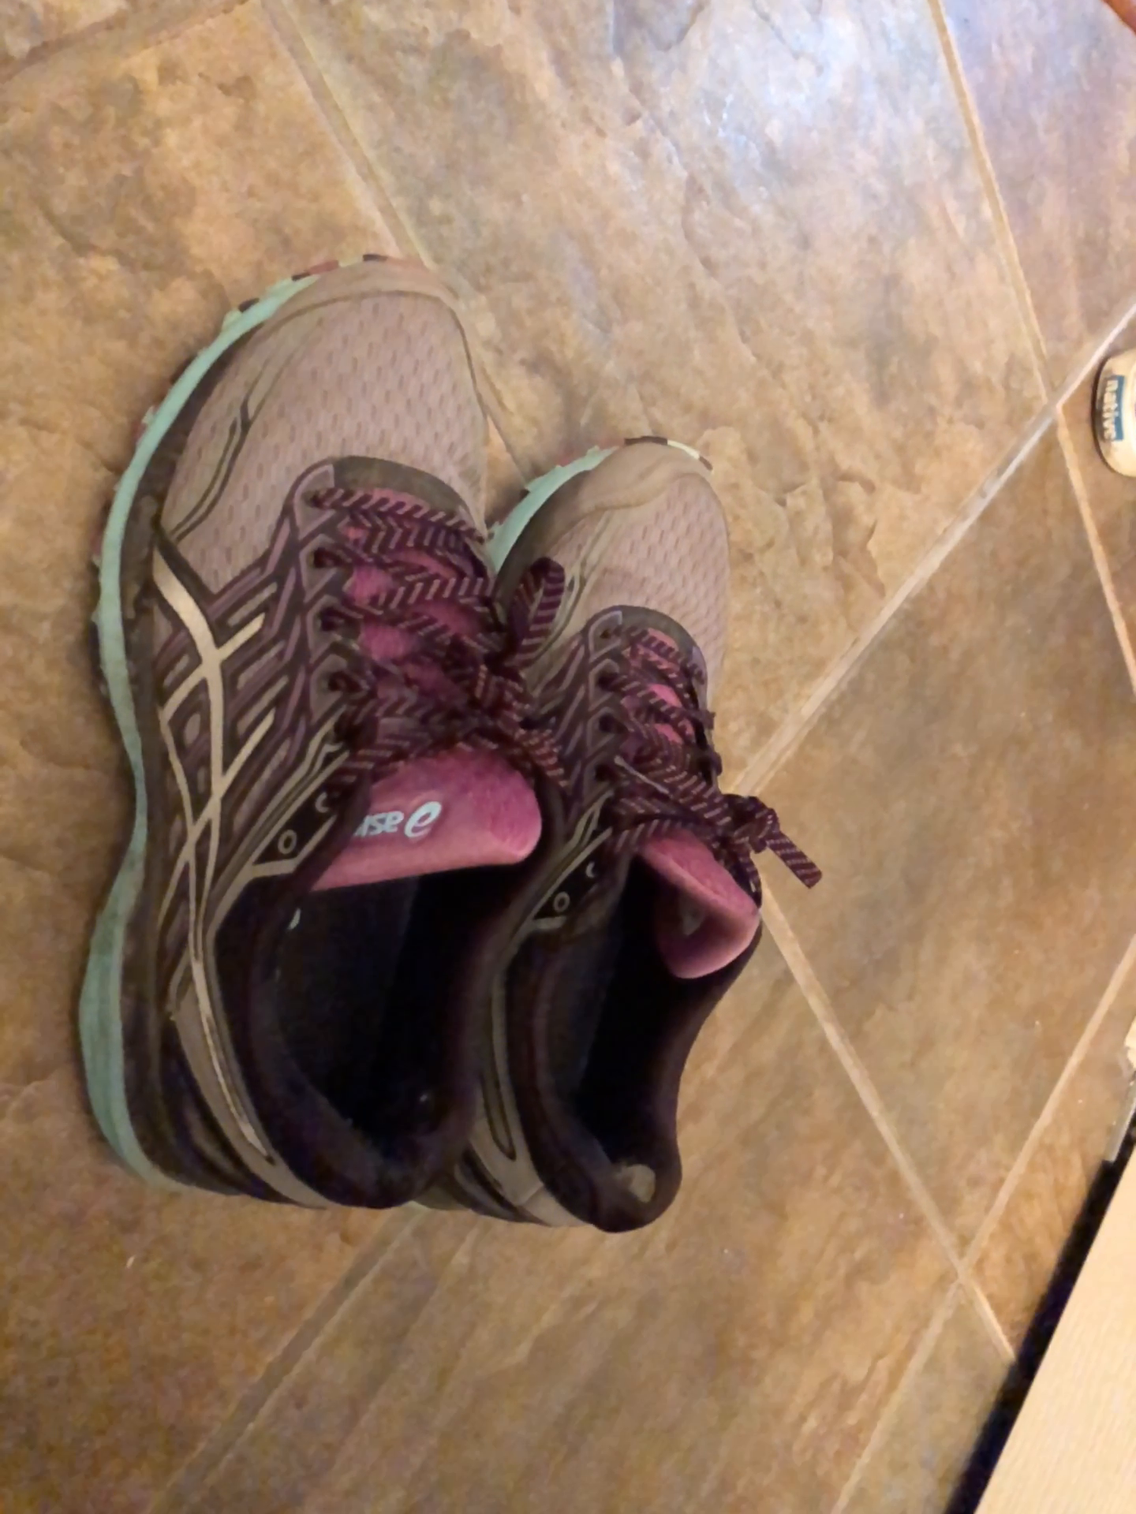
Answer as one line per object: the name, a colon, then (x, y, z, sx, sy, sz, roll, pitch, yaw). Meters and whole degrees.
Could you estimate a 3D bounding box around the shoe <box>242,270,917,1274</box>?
shoe: (0.006, 0.007, 0.415, 0.110, 0.119, 0.280, 20, 81, -41)

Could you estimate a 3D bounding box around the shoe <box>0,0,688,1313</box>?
shoe: (-0.065, -0.023, 0.339, 0.110, 0.119, 0.280, 7, 89, -41)
